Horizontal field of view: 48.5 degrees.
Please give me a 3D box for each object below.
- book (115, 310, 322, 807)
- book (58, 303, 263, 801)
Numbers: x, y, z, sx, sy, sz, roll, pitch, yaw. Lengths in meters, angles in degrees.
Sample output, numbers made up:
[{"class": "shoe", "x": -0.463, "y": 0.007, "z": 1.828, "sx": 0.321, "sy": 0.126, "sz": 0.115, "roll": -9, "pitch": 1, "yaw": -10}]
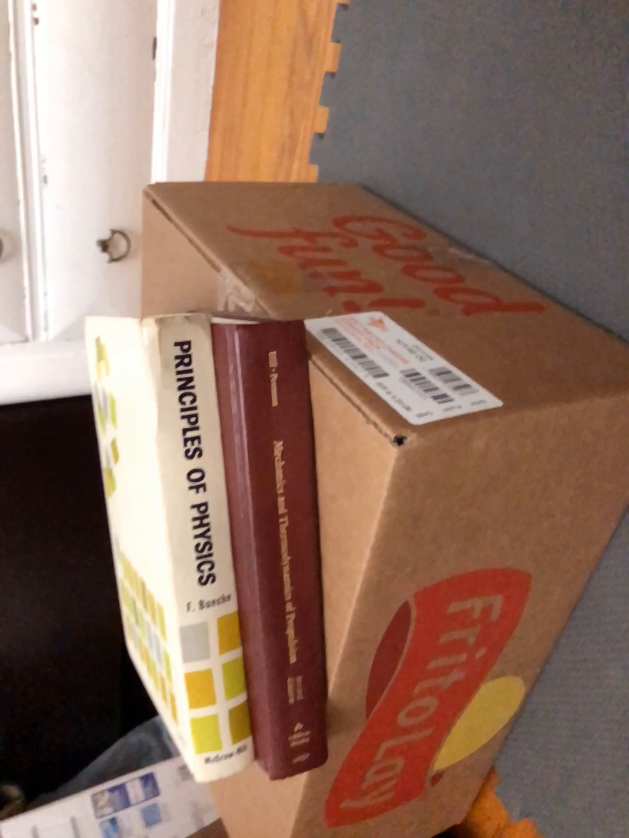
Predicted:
[{"class": "book", "x": -0.064, "y": 0.065, "z": 0.427, "sx": 0.181, "sy": 0.040, "sz": 0.250, "roll": 20, "pitch": 117, "yaw": 59}, {"class": "book", "x": -0.100, "y": 0.059, "z": 0.422, "sx": 0.181, "sy": 0.040, "sz": 0.250, "roll": 15, "pitch": 113, "yaw": 60}]
